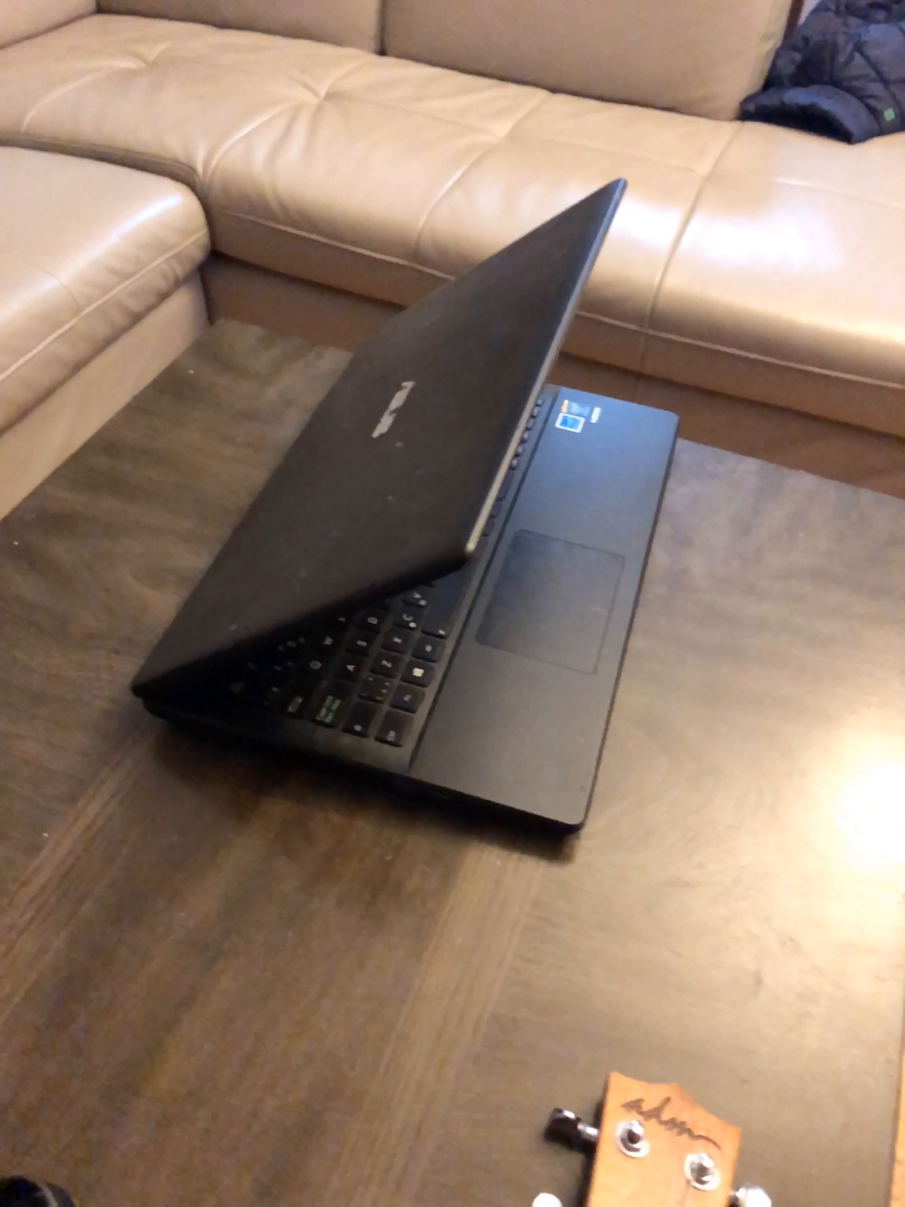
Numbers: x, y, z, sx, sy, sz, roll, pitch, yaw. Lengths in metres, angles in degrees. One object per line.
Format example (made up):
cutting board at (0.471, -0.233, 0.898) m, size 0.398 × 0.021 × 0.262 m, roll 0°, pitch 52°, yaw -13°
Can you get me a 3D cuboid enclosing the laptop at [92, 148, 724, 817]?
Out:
laptop at (0.007, -0.102, 0.602) m, size 0.238 × 0.164 × 0.374 m, roll 14°, pitch 47°, yaw 9°
